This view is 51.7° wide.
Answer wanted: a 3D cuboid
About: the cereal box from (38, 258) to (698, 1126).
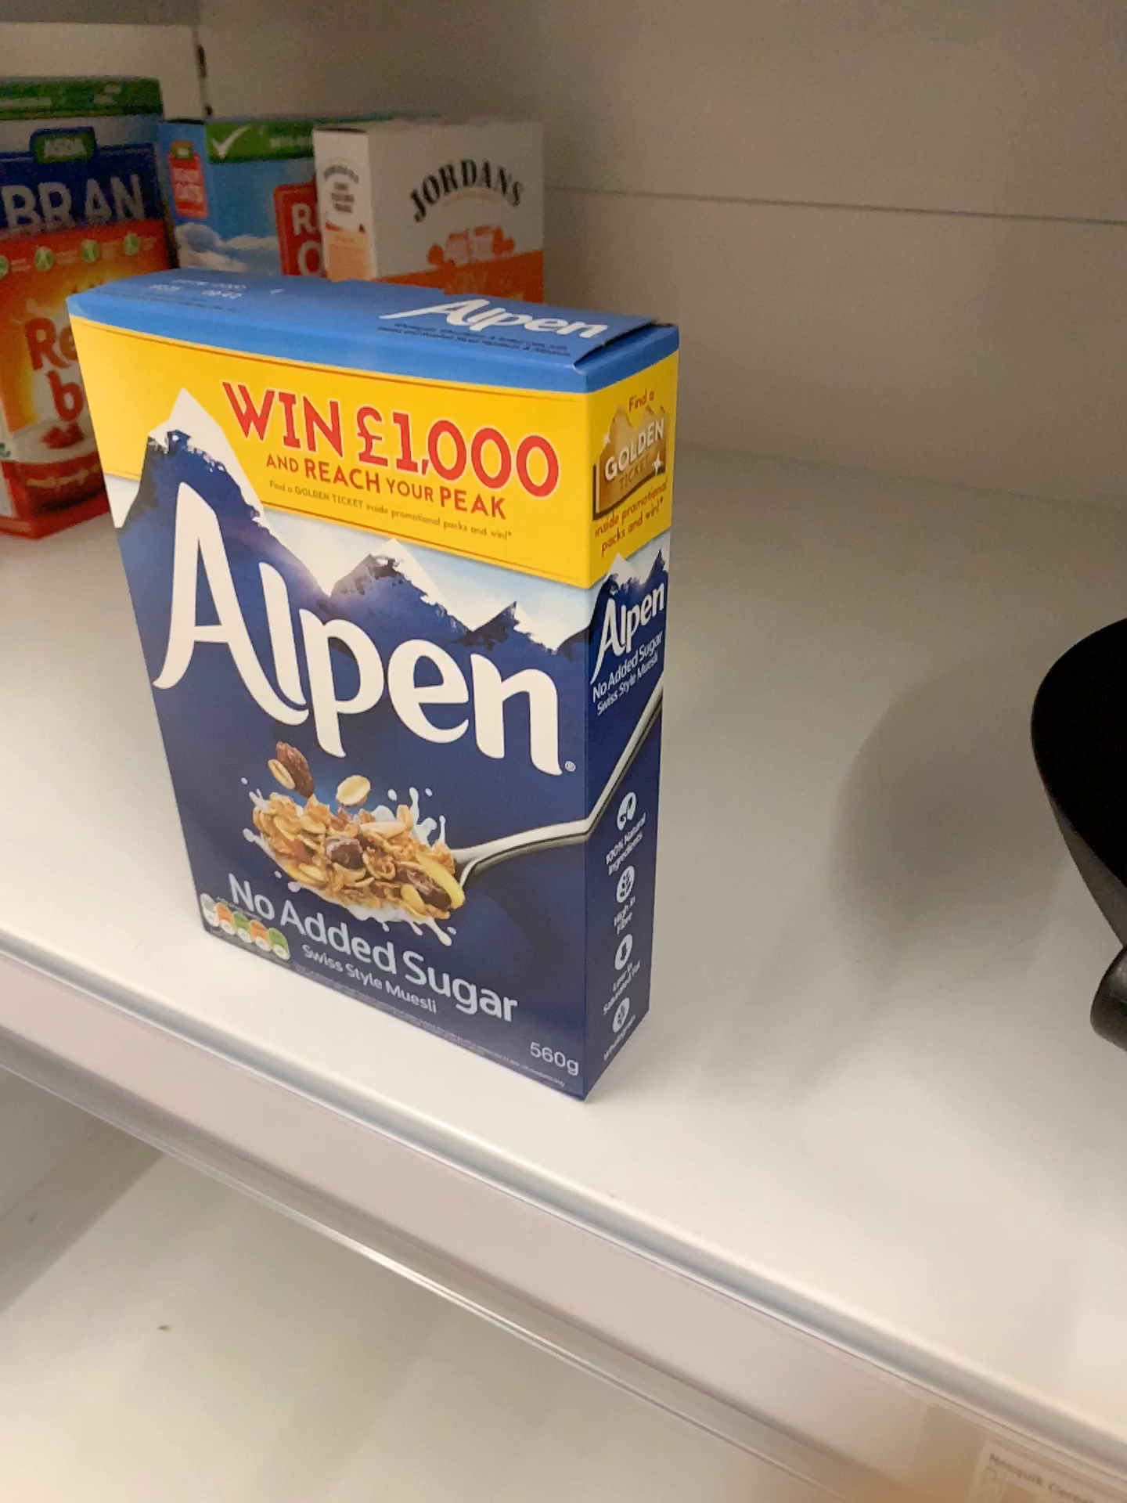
[{"bbox_3d":[-0.058,-0.020,0.375,0.180,0.238,0.060,17,34,27],"label":"cereal box"}]
